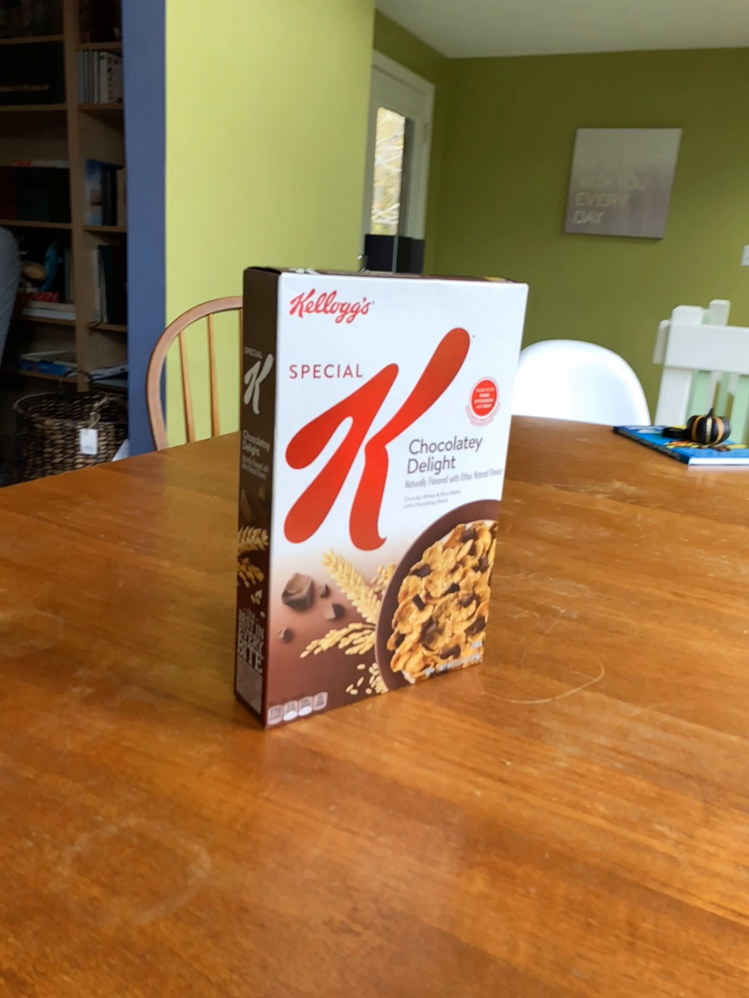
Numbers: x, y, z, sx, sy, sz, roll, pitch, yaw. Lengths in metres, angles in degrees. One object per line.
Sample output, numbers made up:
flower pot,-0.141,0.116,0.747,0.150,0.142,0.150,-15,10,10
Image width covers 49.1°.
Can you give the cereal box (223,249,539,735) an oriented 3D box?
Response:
cereal box,0.004,-0.010,0.546,0.201,0.288,0.050,-8,20,-35
